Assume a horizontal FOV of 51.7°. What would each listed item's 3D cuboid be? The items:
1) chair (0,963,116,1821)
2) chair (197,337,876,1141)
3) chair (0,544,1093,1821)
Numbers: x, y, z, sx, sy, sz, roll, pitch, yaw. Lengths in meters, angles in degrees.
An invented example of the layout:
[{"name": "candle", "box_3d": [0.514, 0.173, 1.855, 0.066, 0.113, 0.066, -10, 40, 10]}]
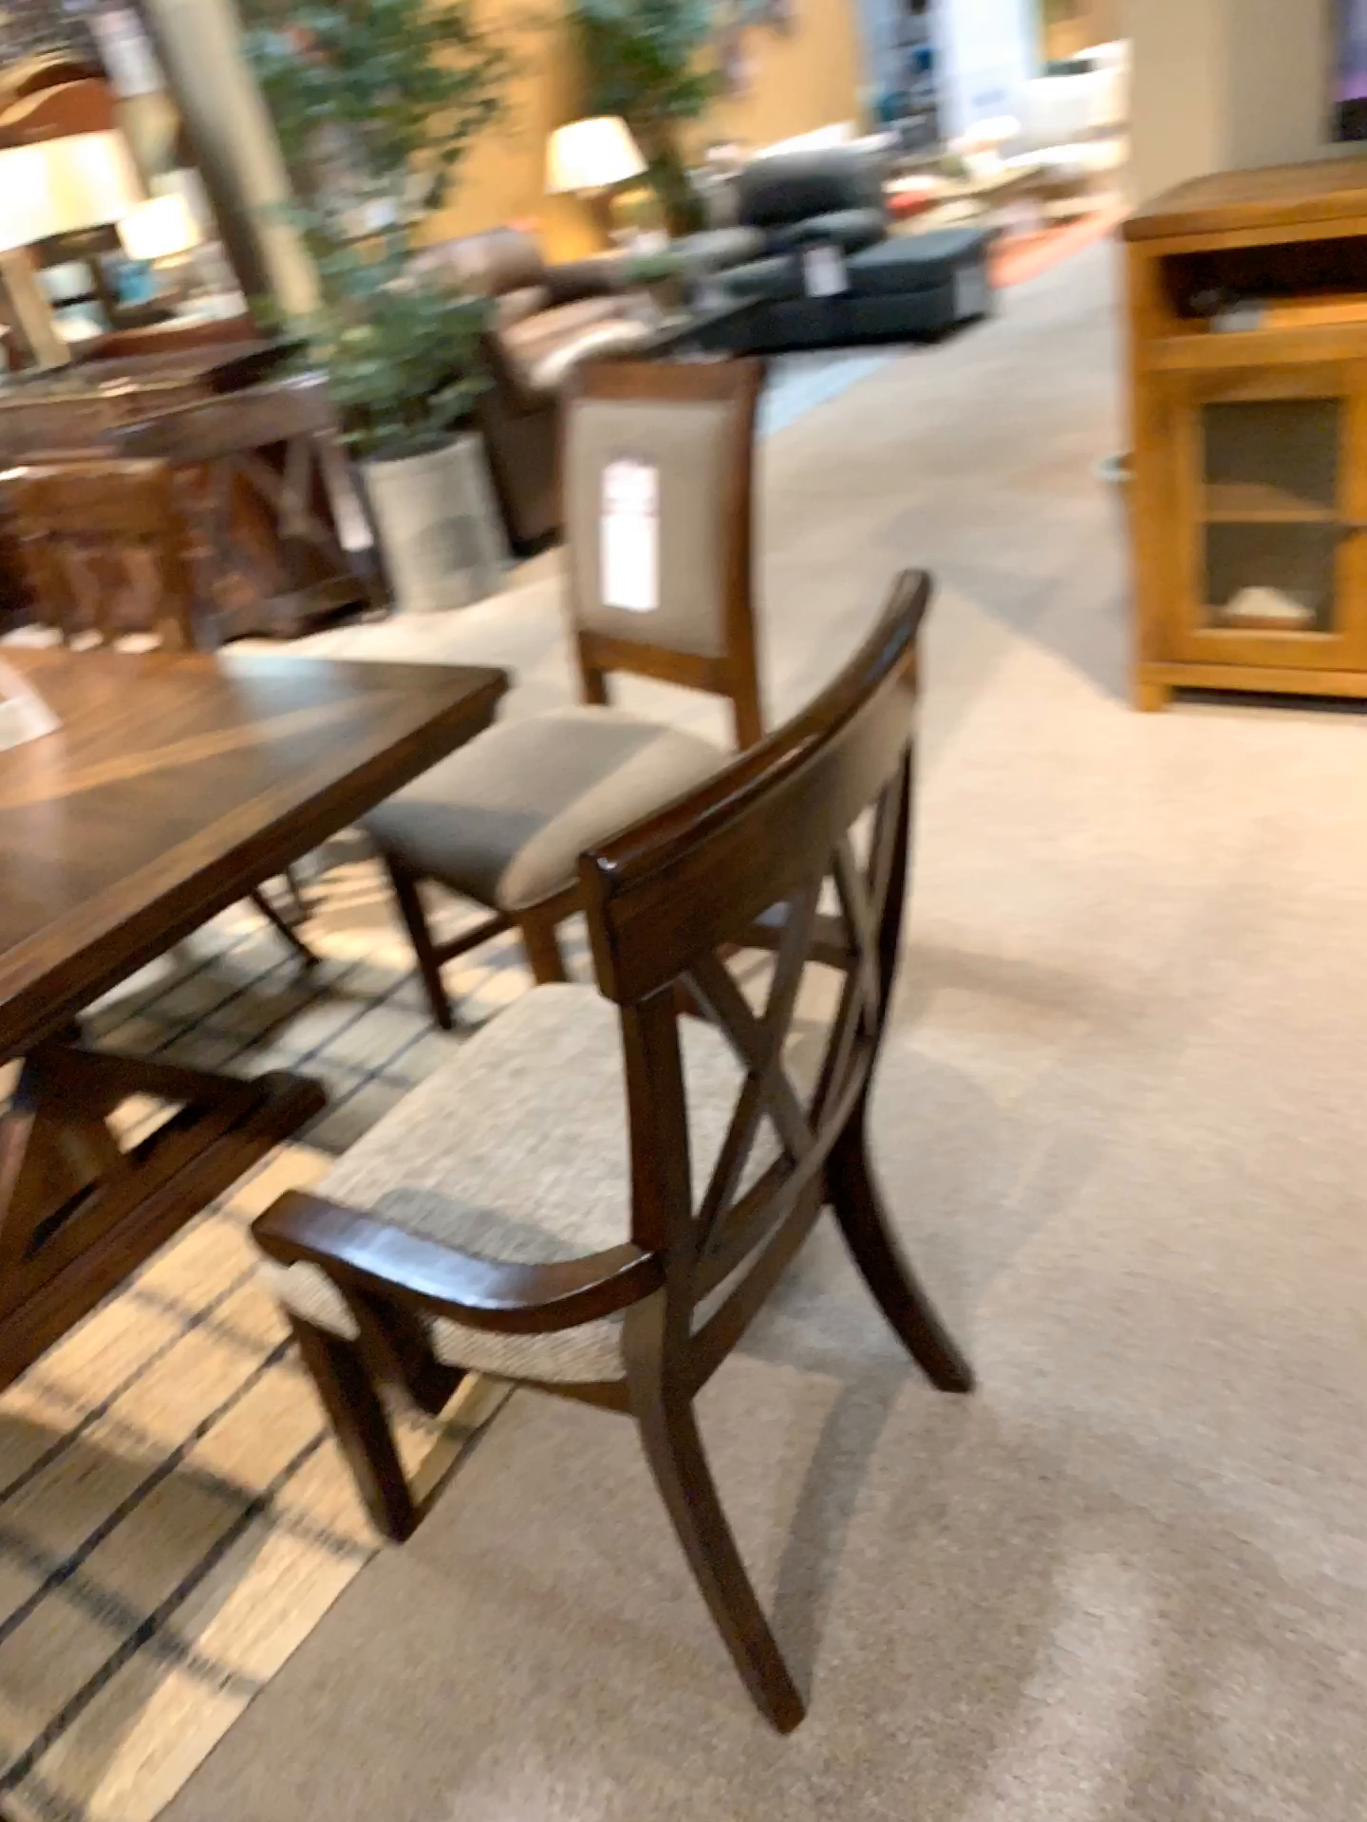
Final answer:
[{"name": "chair", "box_3d": [-0.962, 0.613, 0.926, 0.506, 0.916, 0.646, 3, 33, 27]}, {"name": "chair", "box_3d": [-0.166, -0.285, 2.123, 0.645, 0.936, 0.507, -34, 36, -32]}, {"name": "chair", "box_3d": [-0.059, 0.194, 1.303, 0.656, 0.896, 0.547, 10, 36, 34]}]
